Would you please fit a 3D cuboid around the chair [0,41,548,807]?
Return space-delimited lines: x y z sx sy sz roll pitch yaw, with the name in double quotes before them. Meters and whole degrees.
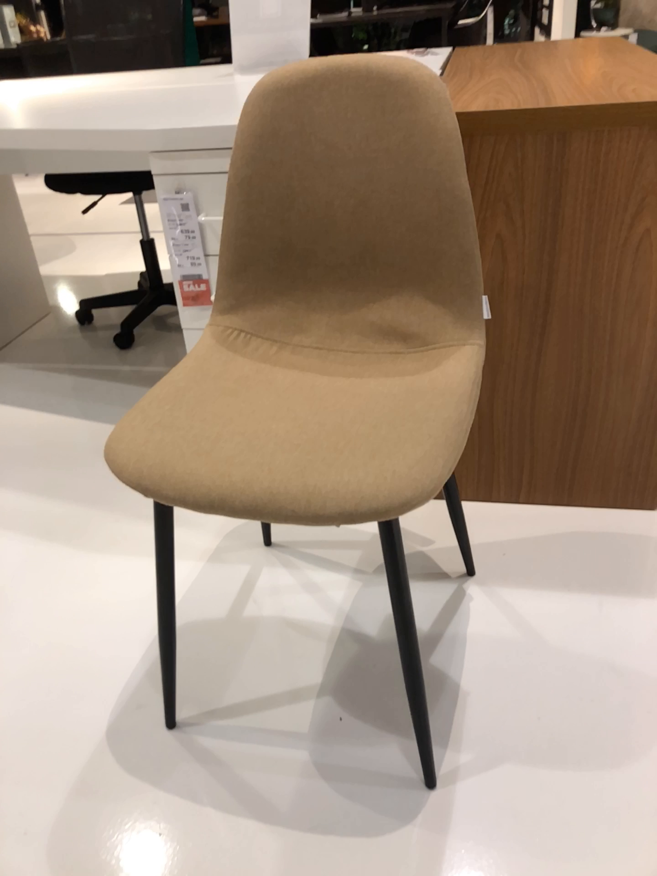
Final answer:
"chair" -0.004 -0.046 0.955 0.480 0.784 0.524 6 32 17
